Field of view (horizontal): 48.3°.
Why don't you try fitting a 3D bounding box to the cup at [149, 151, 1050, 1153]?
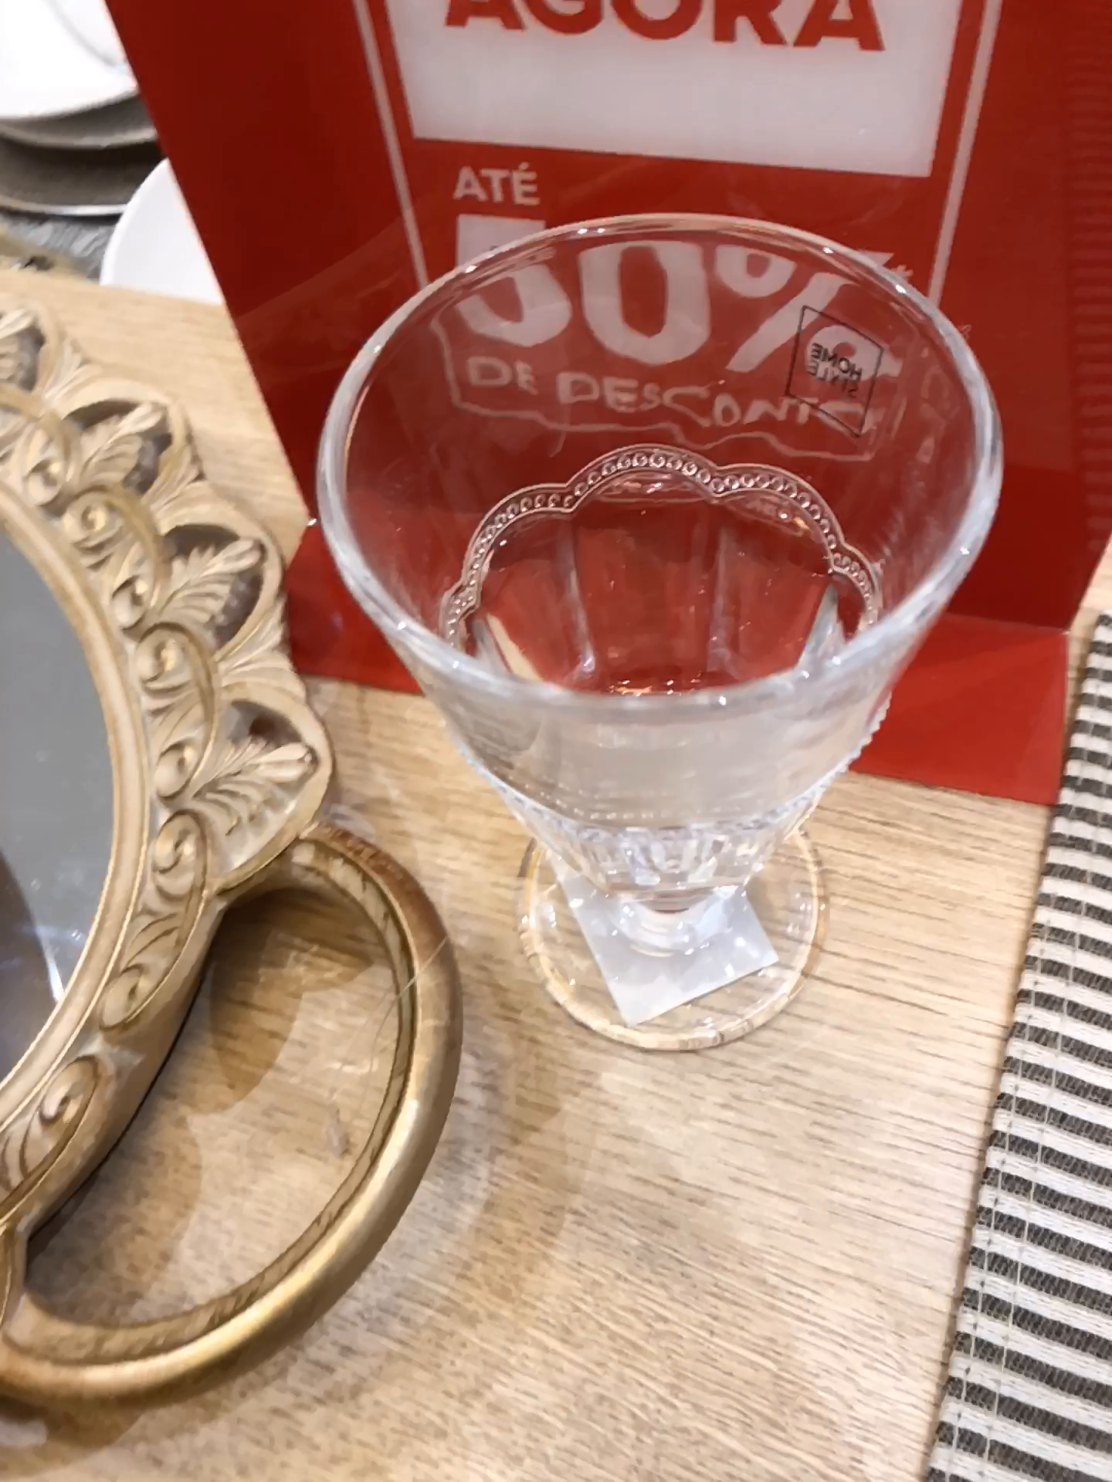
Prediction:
[{"bbox_3d":[0.014,-0.002,0.202,0.080,0.140,0.080,-3,59,5],"label":"cup"}]
